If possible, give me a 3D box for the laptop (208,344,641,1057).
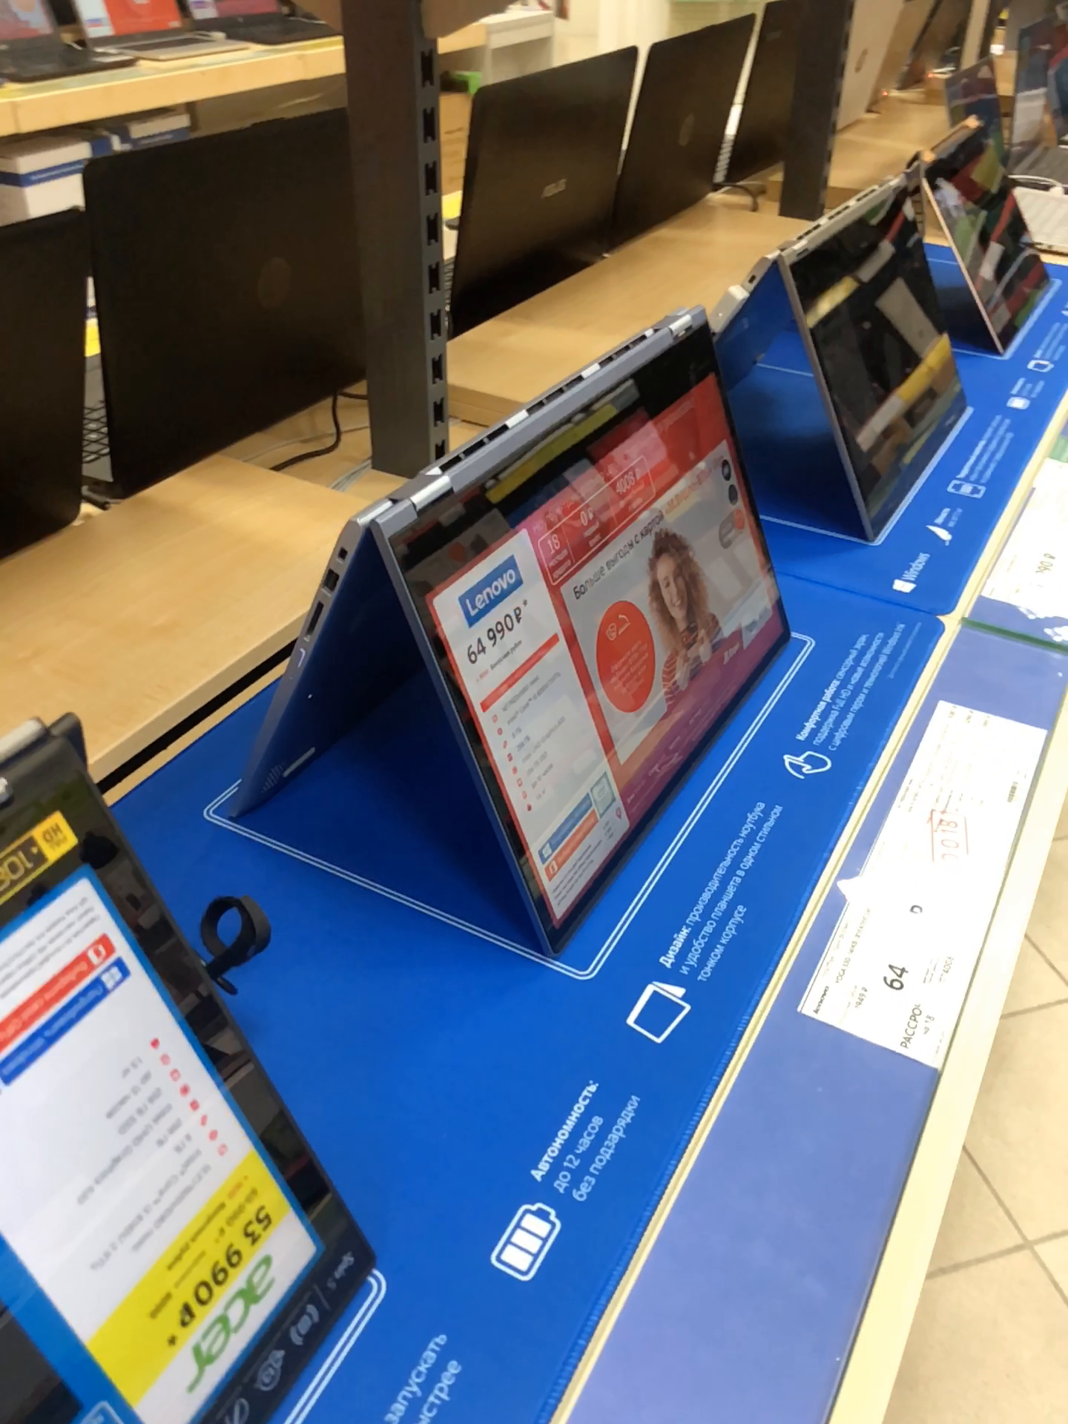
[{"bbox_3d":[-0.056,-0.002,0.725,0.221,0.157,0.307,-22,16,37],"label":"laptop"}]
